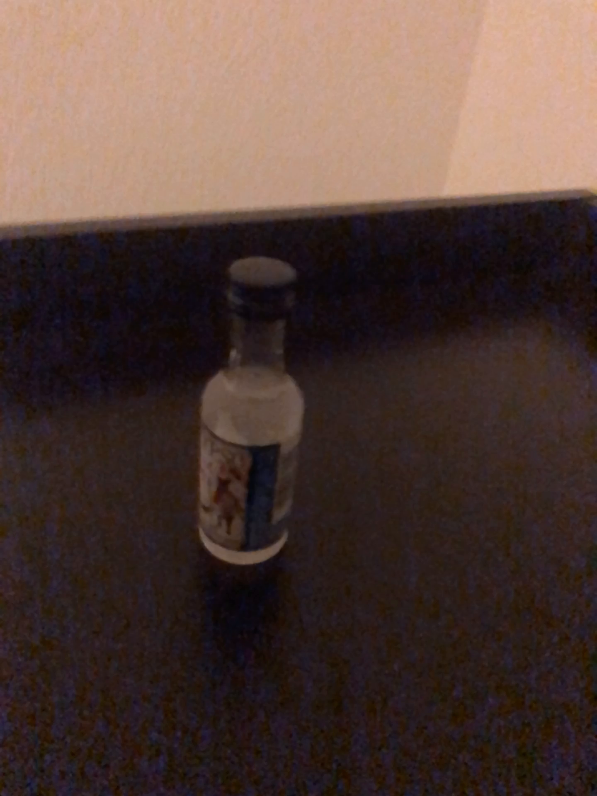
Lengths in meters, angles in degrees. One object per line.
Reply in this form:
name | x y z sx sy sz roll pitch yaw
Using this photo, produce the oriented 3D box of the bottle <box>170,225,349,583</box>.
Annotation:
bottle | -0.017 0.004 0.211 0.036 0.104 0.040 -11 38 -25
